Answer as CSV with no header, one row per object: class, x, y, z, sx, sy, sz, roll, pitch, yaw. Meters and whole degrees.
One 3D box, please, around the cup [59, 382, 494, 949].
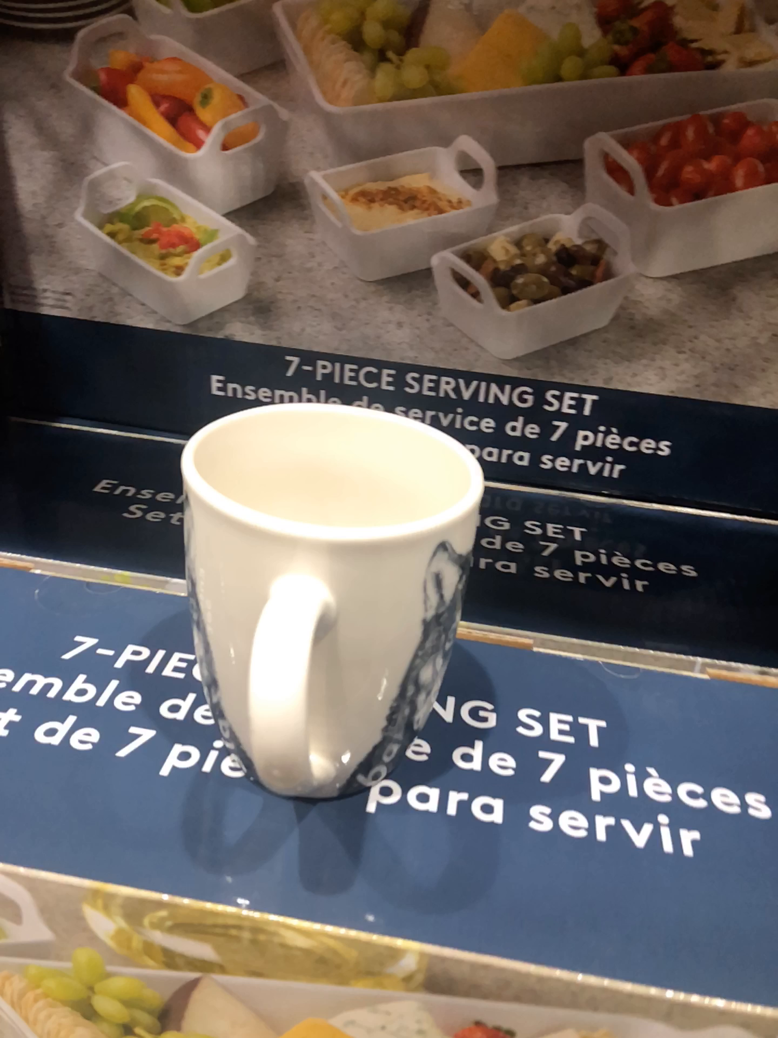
cup,-0.021,0.032,0.260,0.093,0.102,0.129,7,26,4
